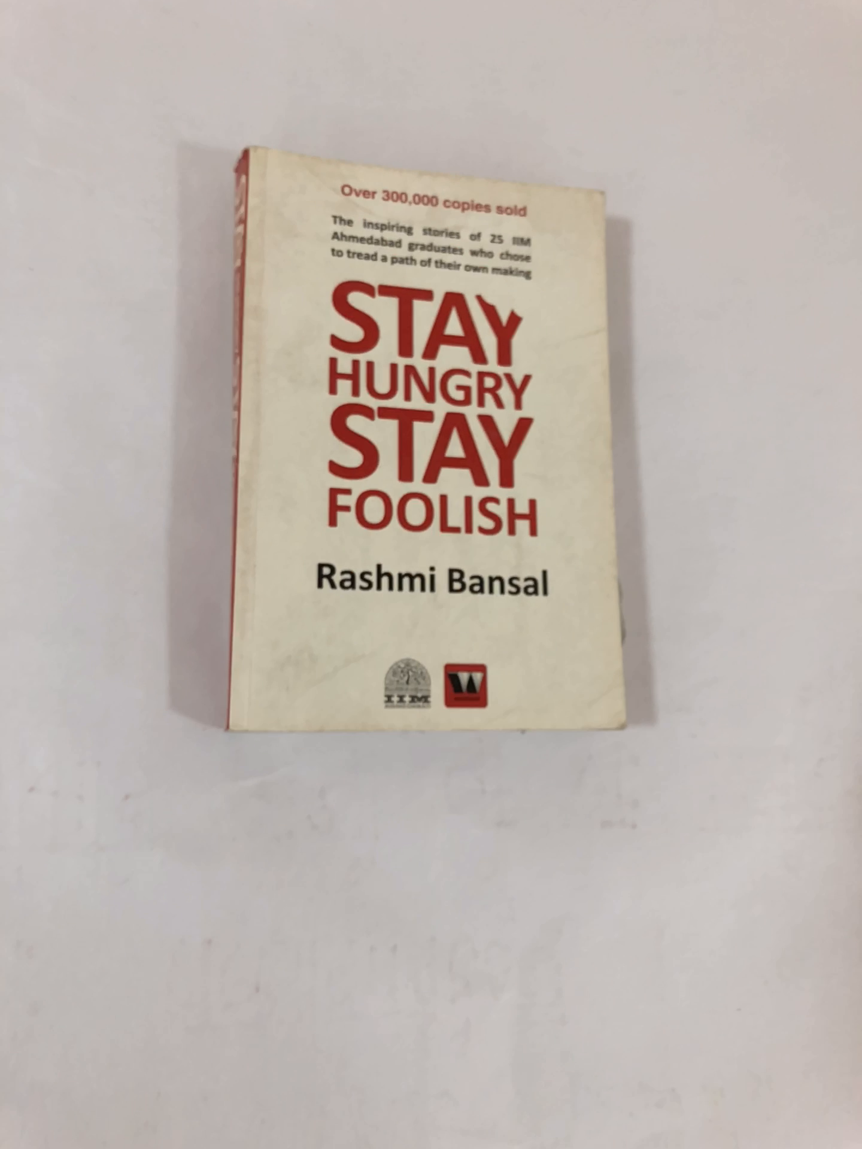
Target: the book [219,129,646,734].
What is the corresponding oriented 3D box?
[{"bbox_3d":[-0.002,-0.044,0.326,0.130,0.040,0.190,2,79,-13],"label":"book"}]
